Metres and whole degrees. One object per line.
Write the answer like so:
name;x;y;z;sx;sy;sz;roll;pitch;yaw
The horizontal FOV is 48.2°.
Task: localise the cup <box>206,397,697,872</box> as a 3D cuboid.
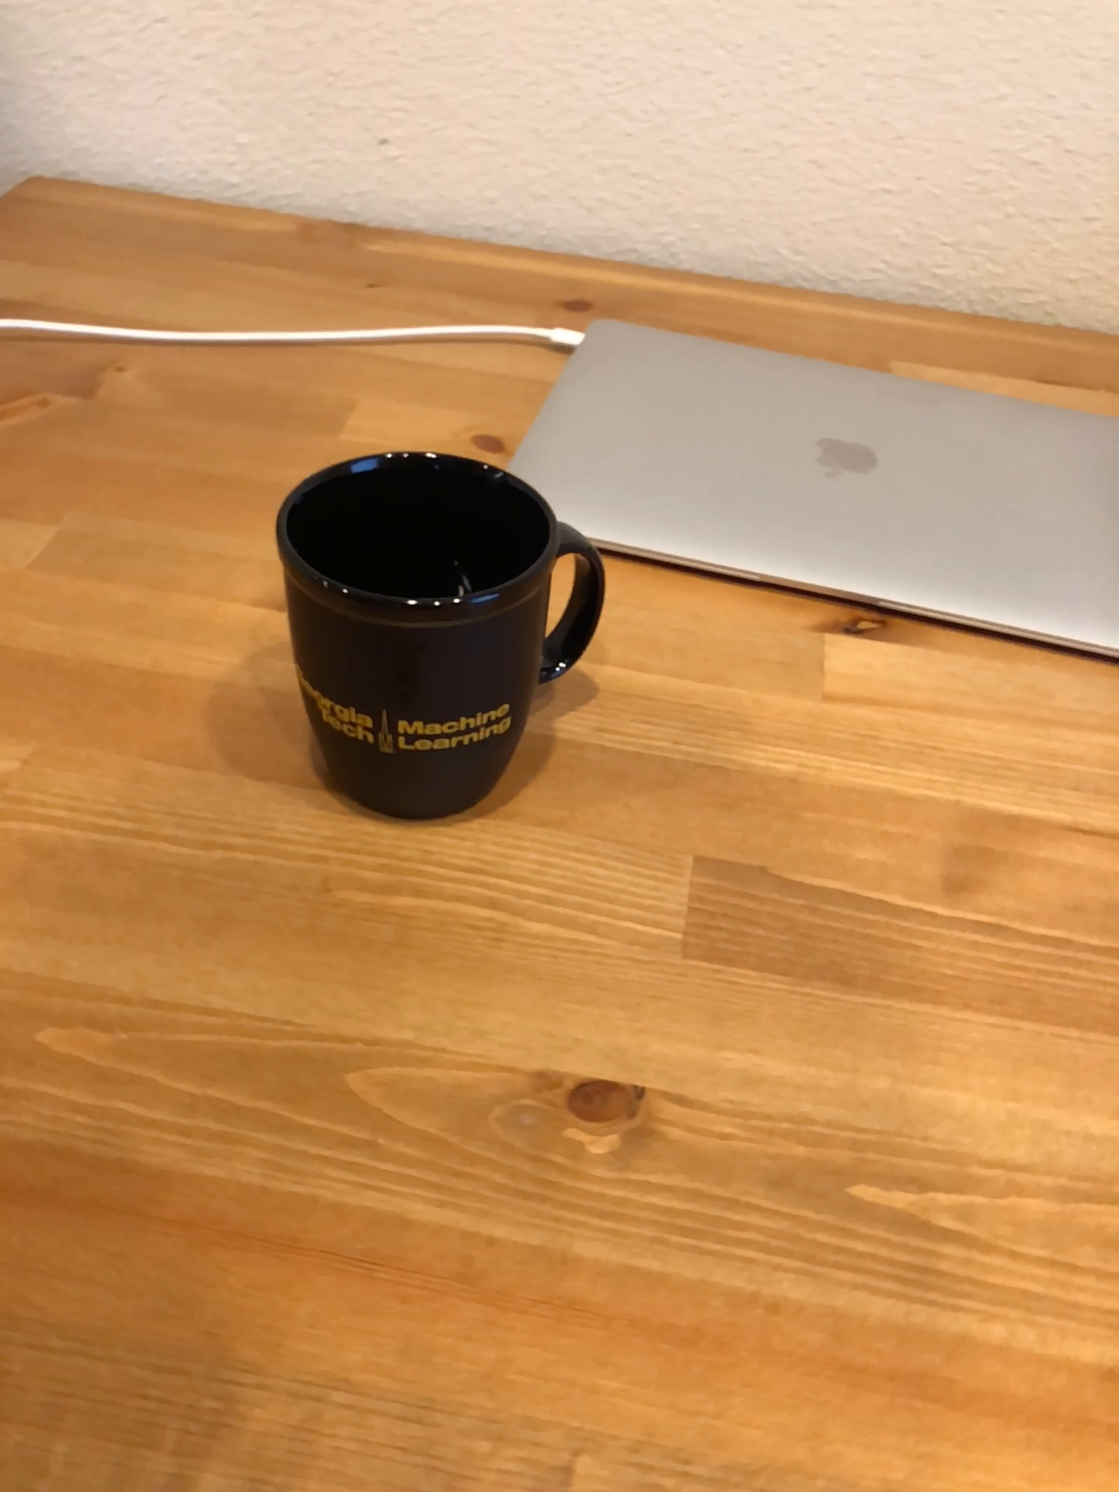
cup;-0.035;-0.042;0.413;0.120;0.090;0.090;-26;50;-31
